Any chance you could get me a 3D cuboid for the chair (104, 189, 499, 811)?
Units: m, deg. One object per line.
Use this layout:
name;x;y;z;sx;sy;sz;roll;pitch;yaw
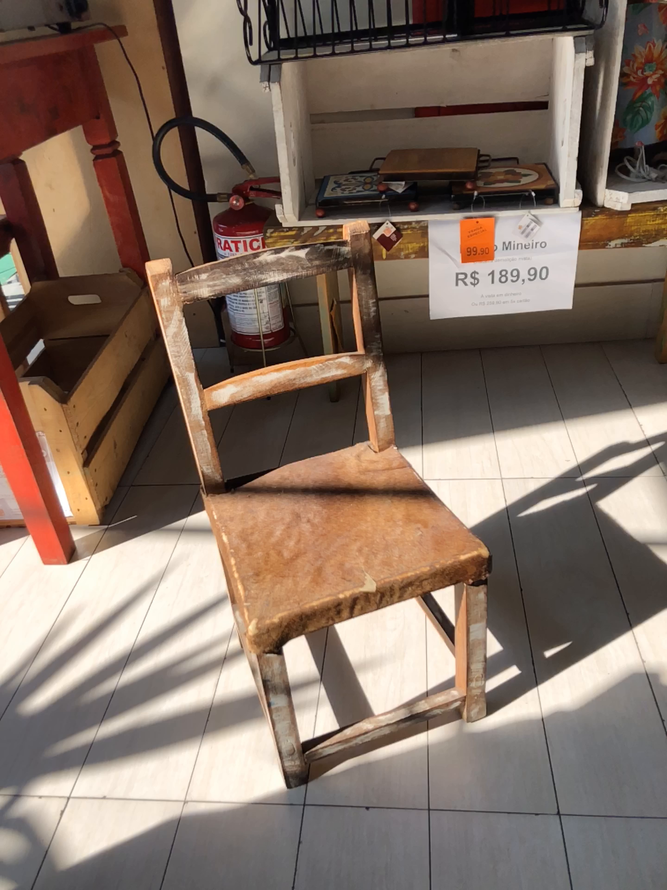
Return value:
chair;-0.030;0.055;0.882;0.300;0.596;0.342;-16;32;-15
